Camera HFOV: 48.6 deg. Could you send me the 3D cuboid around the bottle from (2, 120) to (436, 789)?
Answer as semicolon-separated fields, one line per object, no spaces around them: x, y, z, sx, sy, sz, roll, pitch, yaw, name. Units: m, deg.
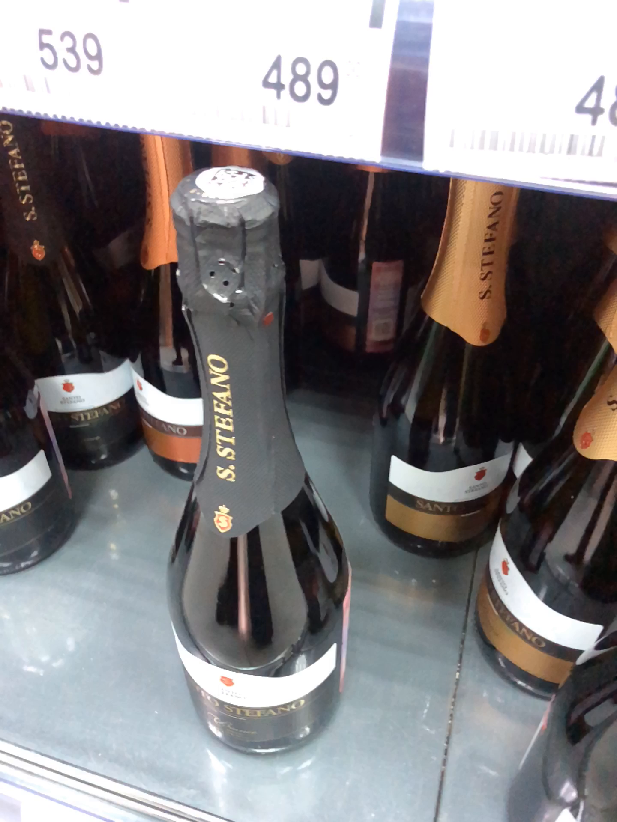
-0.020;0.043;0.294;0.100;0.288;0.090;11;42;12;bottle
